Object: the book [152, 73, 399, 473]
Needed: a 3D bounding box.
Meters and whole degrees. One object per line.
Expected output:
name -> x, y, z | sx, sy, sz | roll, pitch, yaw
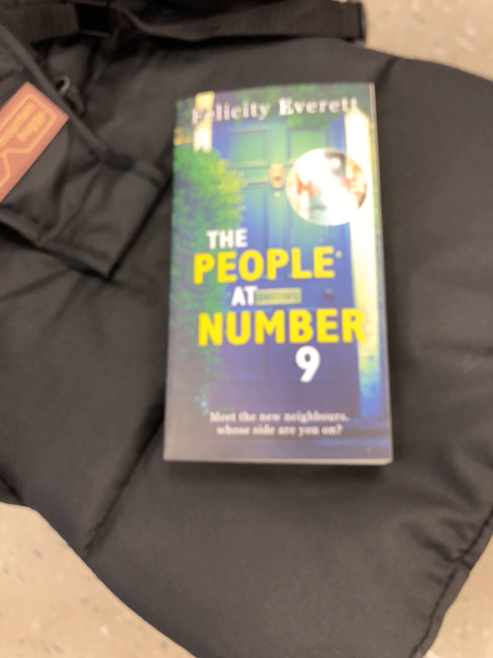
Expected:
book -> 0.013, -0.029, 0.284 | 0.110, 0.030, 0.195 | 0, 79, 3
